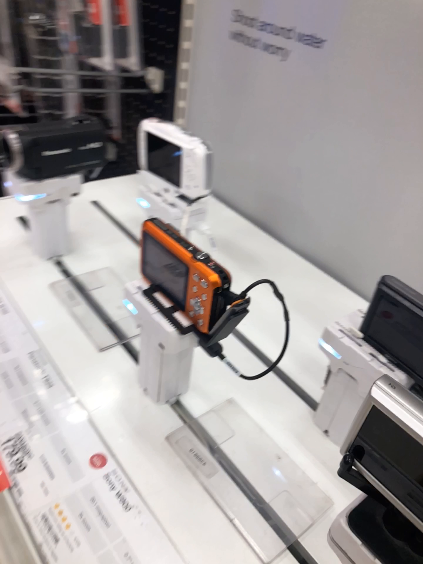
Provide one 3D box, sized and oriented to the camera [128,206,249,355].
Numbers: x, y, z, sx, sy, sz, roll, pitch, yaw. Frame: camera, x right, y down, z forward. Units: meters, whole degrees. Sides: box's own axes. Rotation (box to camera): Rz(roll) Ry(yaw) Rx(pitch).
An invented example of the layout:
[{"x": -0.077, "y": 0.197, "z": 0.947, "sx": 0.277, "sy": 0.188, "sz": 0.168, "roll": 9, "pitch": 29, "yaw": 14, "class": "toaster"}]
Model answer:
[{"x": -0.024, "y": -0.005, "z": 0.364, "sx": 0.020, "sy": 0.060, "sz": 0.120, "roll": -22, "pitch": 45, "yaw": -35, "class": "camera"}]
